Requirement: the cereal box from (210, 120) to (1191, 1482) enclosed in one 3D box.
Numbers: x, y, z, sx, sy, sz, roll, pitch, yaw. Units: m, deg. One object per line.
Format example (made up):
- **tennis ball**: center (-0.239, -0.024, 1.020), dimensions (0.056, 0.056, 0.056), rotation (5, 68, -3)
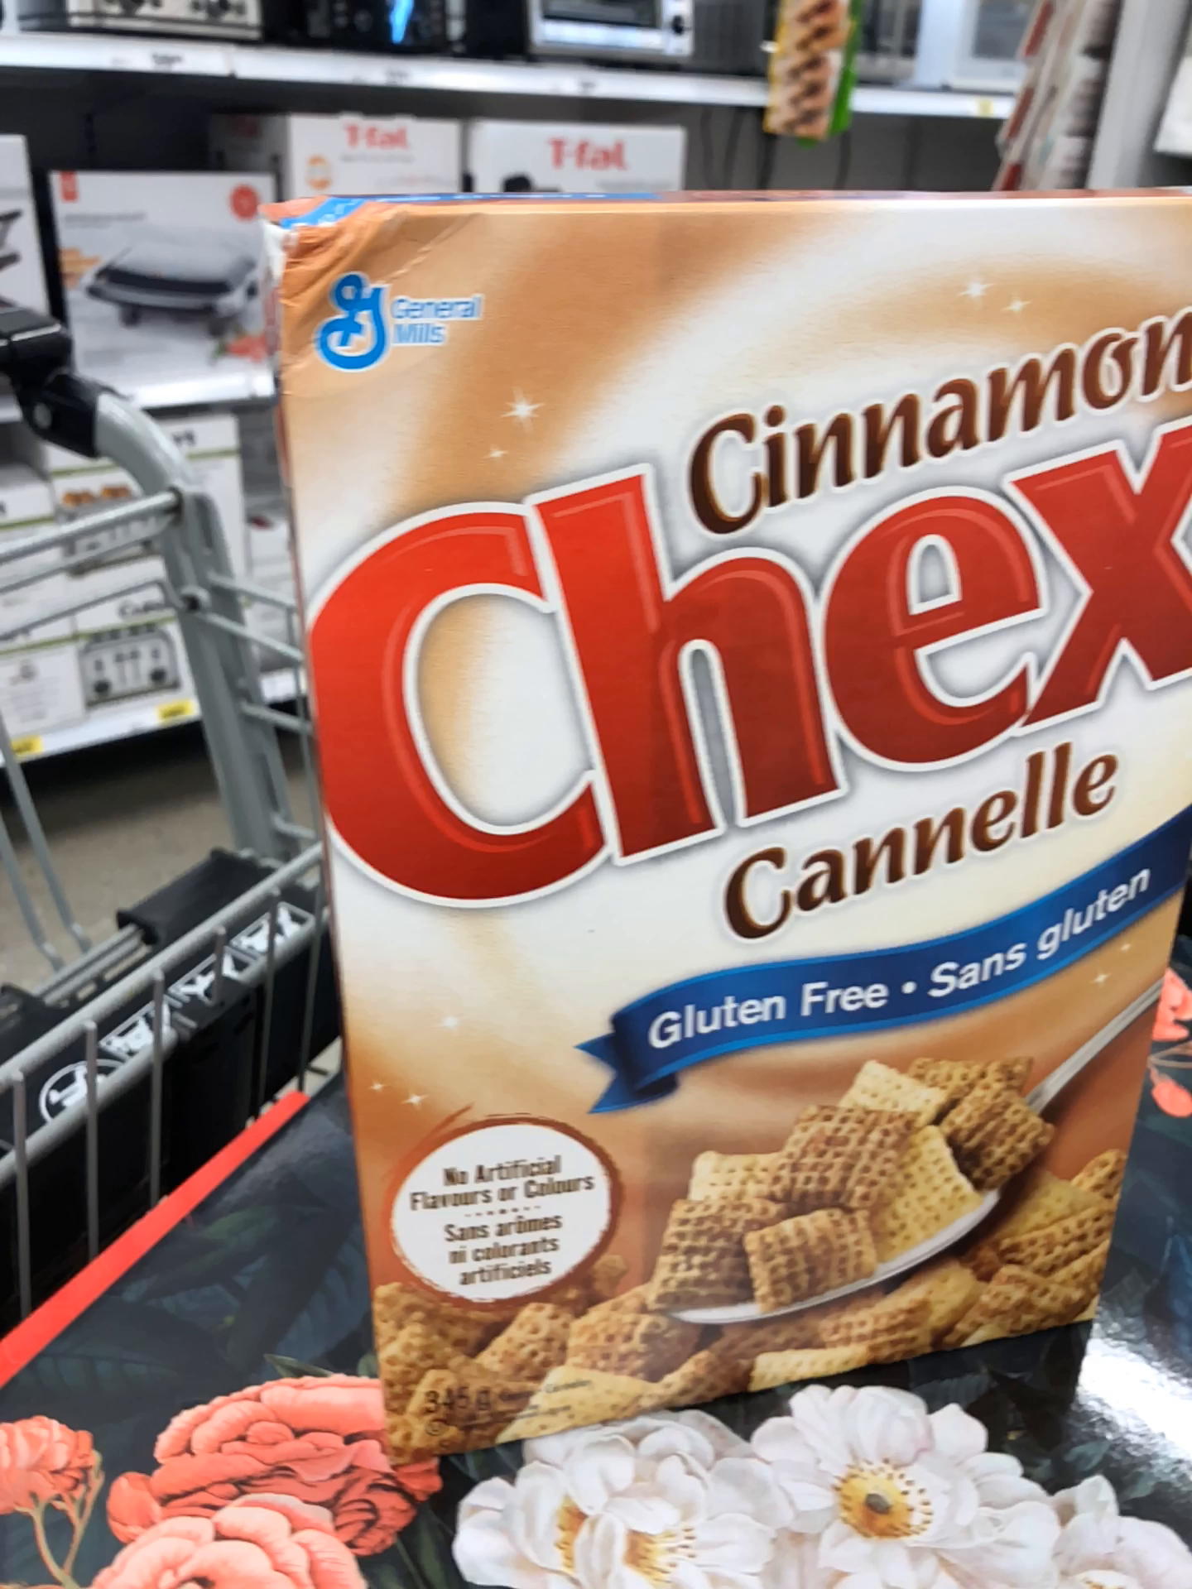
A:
- **cereal box**: center (0.031, 0.005, 0.292), dimensions (0.200, 0.259, 0.060), rotation (-5, 22, -16)
